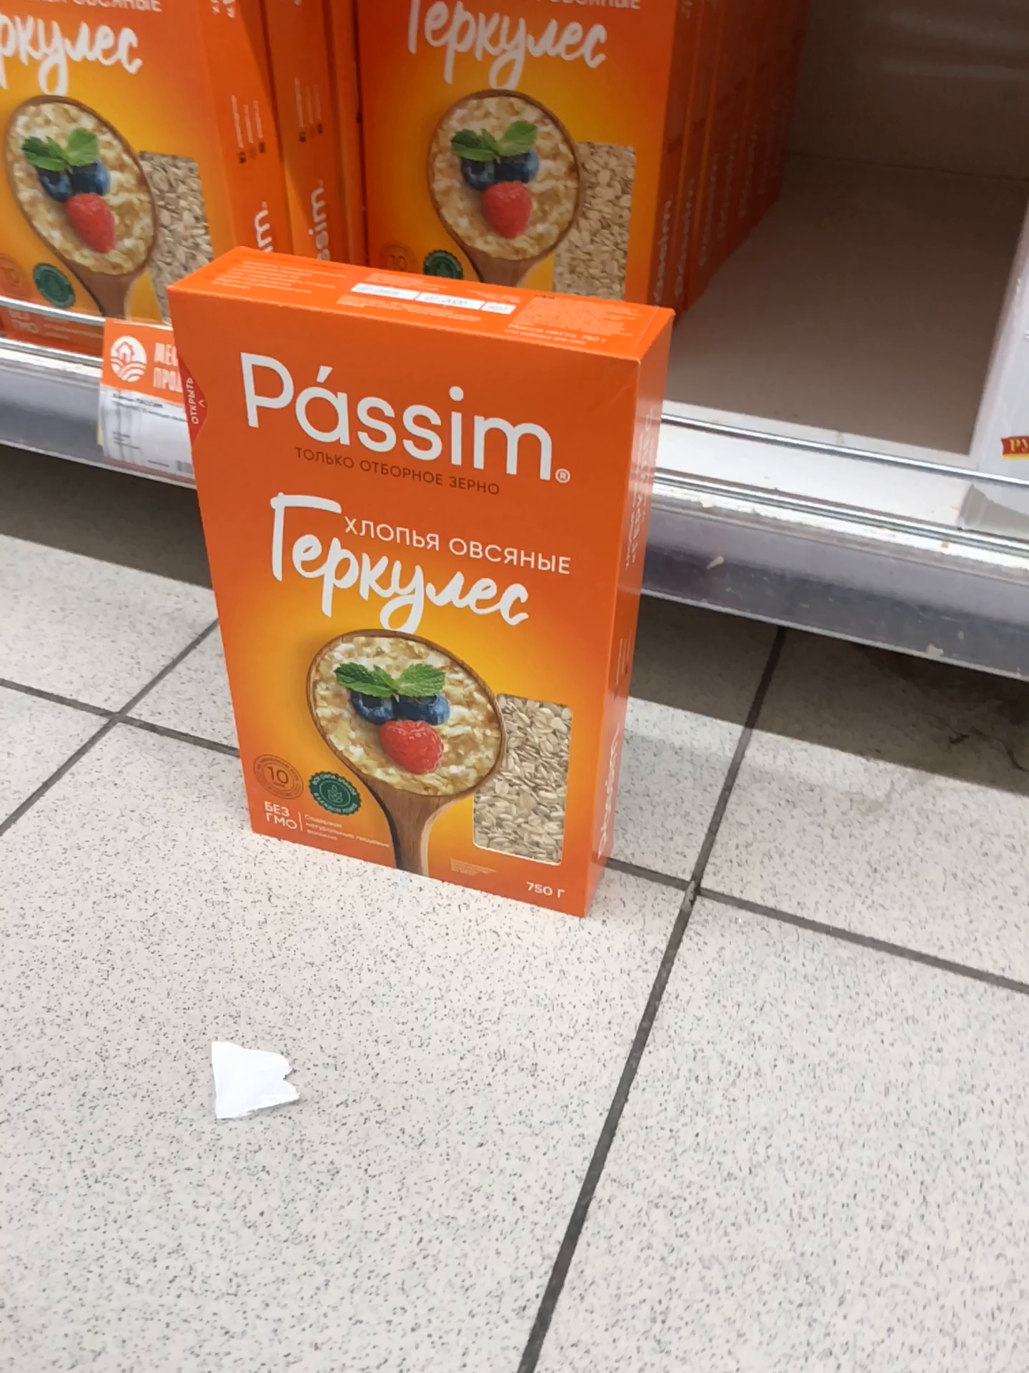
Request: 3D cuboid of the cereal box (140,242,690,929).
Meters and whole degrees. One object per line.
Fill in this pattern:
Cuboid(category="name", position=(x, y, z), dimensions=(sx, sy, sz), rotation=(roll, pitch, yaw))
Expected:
Cuboid(category="cereal box", position=(-0.035, -0.028, 0.442), dimensions=(0.170, 0.249, 0.050), rotation=(12, 39, 13))
